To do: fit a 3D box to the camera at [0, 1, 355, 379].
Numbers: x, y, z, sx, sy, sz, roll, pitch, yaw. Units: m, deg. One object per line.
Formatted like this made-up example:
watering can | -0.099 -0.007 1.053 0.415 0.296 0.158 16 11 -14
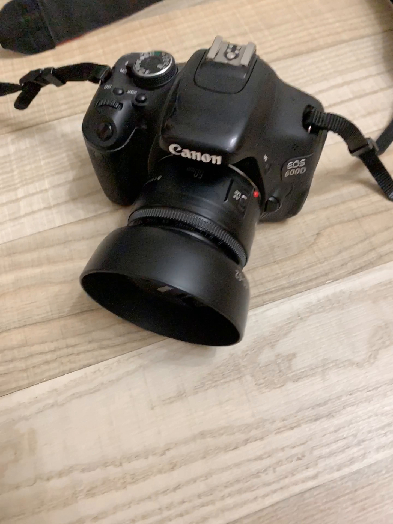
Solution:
camera | -0.011 -0.040 0.222 0.139 0.090 0.151 16 66 10
